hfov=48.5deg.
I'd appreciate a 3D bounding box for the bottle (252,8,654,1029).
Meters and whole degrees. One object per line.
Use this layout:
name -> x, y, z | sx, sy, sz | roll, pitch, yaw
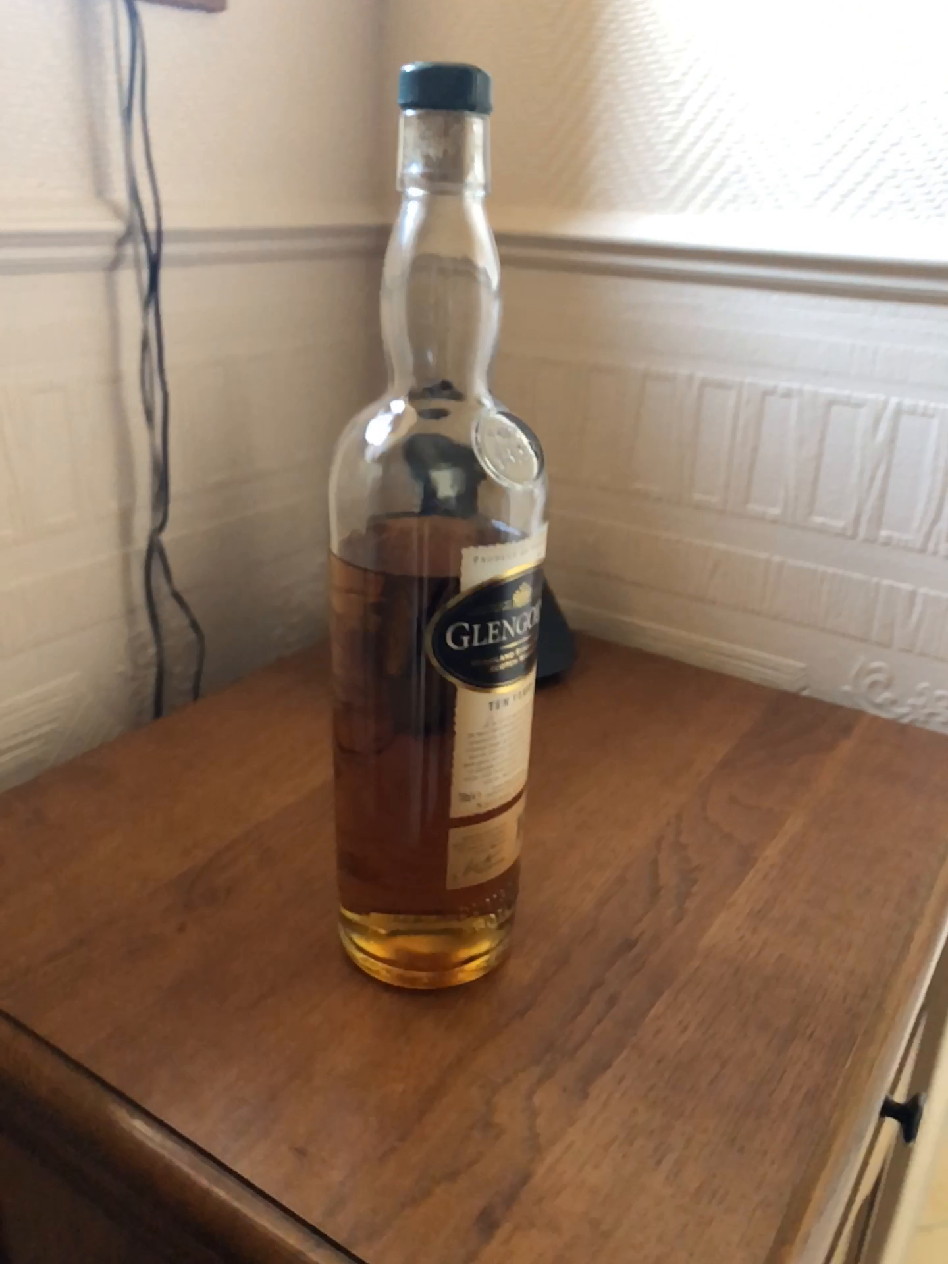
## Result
bottle -> -0.010, -0.028, 0.372 | 0.080, 0.318, 0.091 | 18, 27, 33
